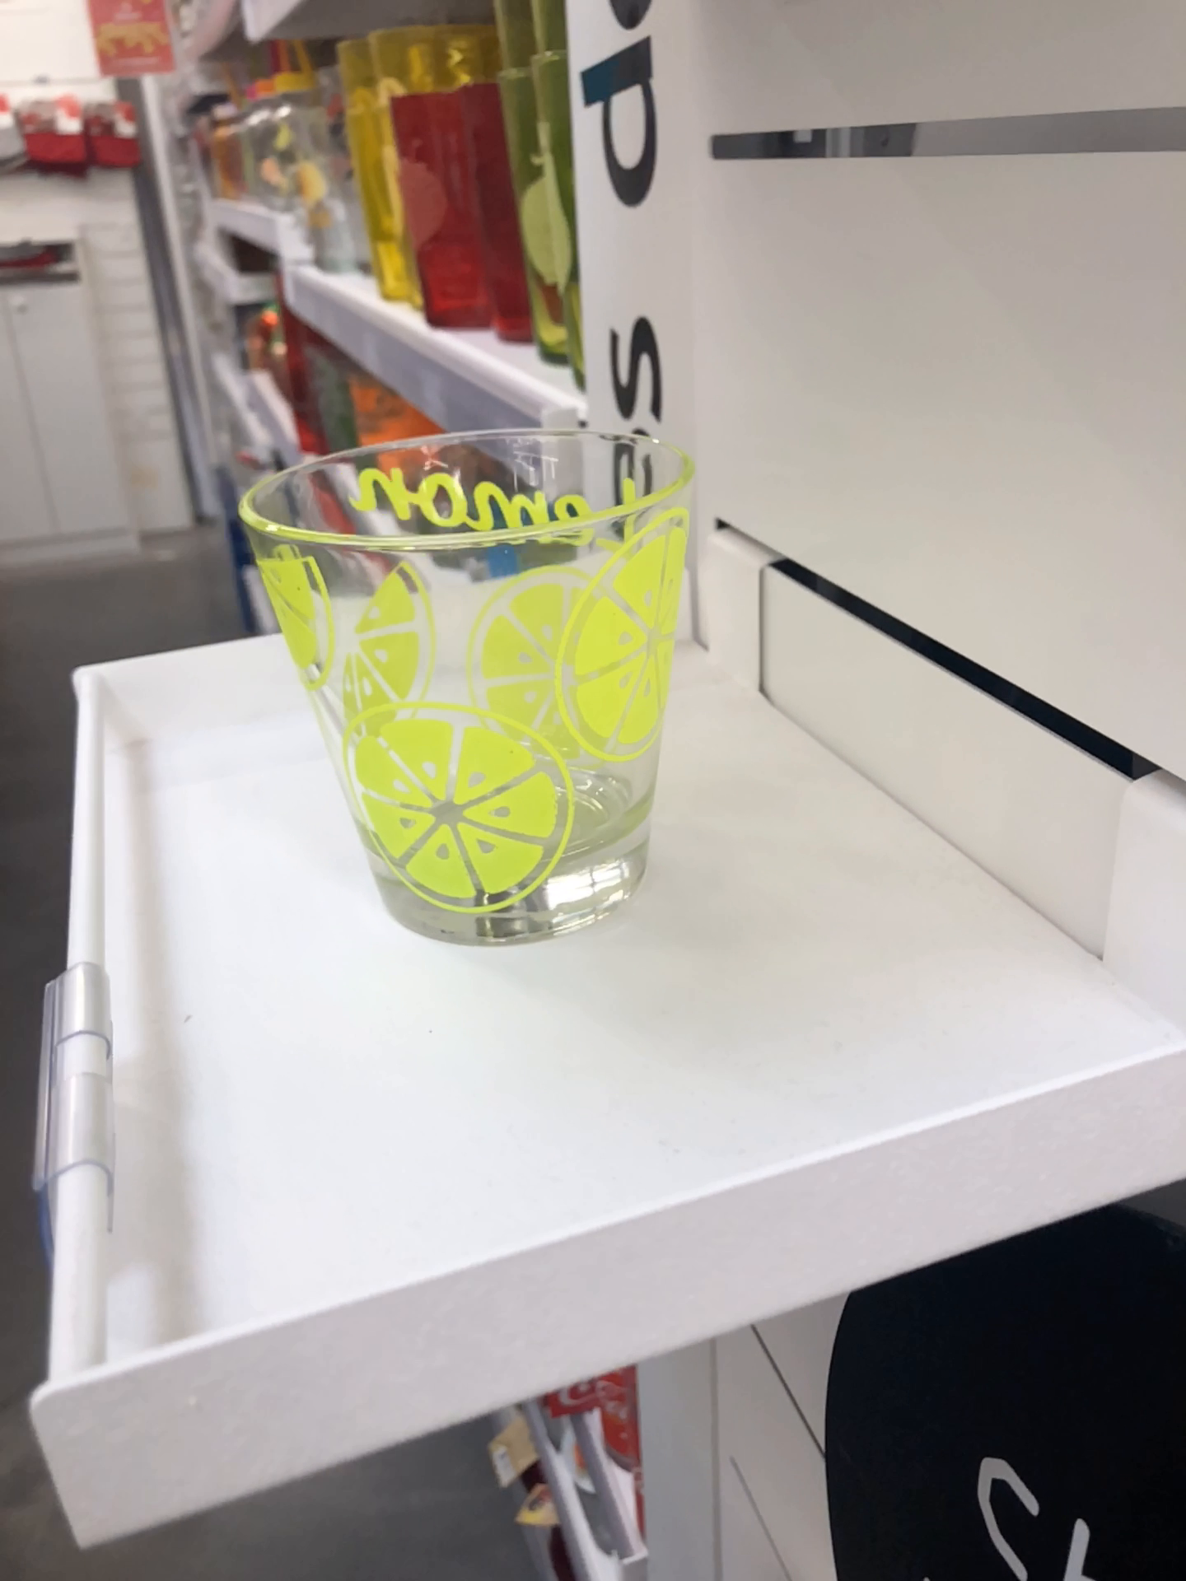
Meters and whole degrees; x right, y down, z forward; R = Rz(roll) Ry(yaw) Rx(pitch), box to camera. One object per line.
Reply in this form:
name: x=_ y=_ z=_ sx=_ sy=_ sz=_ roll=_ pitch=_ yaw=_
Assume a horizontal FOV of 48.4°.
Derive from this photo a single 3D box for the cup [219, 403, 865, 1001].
cup: x=-0.008 y=-0.025 z=0.251 sx=0.084 sy=0.075 sz=0.080 roll=-2 pitch=26 yaw=1
